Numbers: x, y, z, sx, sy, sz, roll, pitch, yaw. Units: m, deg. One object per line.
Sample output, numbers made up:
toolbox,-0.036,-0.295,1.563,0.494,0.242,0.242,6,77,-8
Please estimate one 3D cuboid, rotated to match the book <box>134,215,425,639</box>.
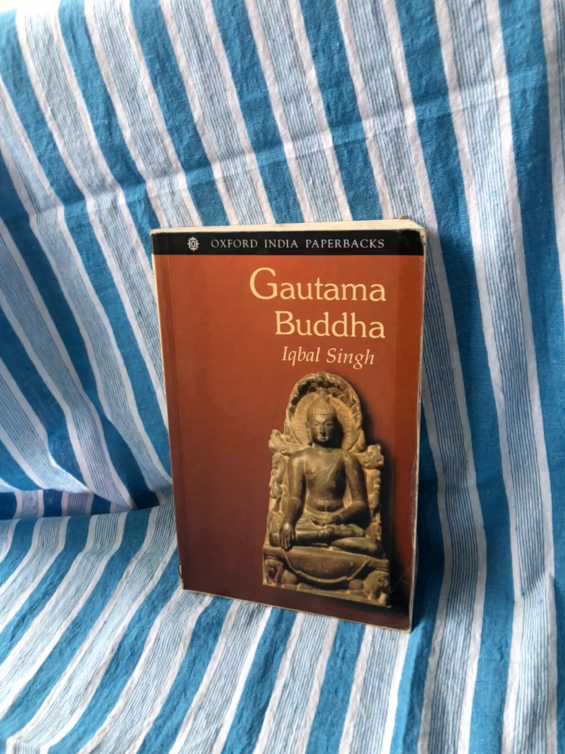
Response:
book,0.002,0.024,0.338,0.140,0.209,0.040,3,15,20
